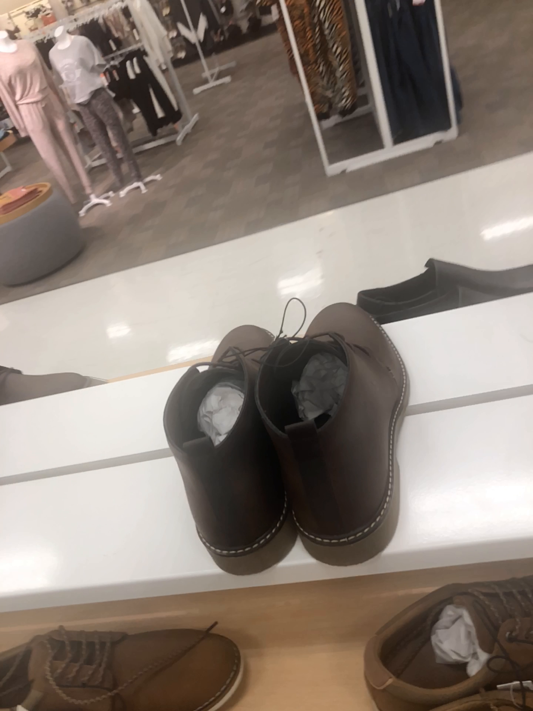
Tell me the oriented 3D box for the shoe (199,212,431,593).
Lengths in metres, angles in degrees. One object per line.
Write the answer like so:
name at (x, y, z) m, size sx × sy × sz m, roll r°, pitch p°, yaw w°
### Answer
shoe at (0.064, 0.026, 0.542) m, size 0.132 × 0.172 × 0.315 m, roll -7°, pitch 36°, yaw 16°

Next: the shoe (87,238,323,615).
shoe at (-0.045, 0.045, 0.567) m, size 0.127 × 0.172 × 0.315 m, roll -14°, pitch 34°, yaw 6°
